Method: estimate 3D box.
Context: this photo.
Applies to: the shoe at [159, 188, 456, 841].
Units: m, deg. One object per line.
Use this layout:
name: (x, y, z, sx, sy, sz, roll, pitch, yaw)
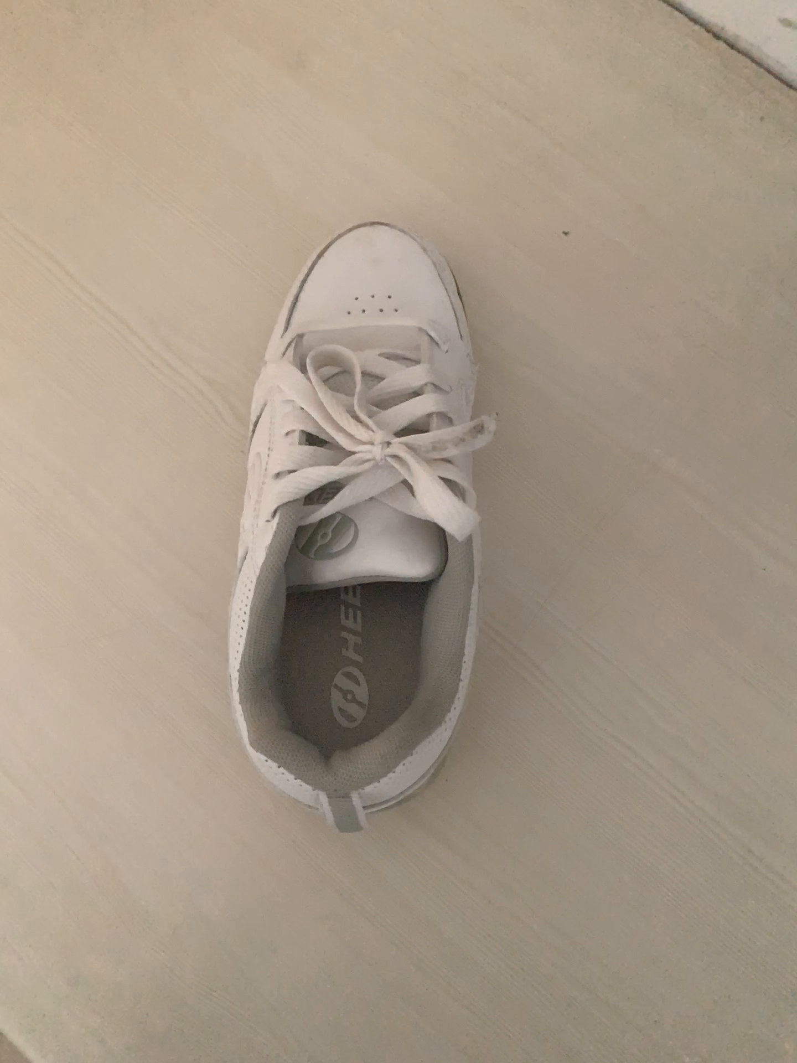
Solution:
shoe: (-0.024, -0.006, 0.321, 0.090, 0.090, 0.230, 1, 75, 3)
